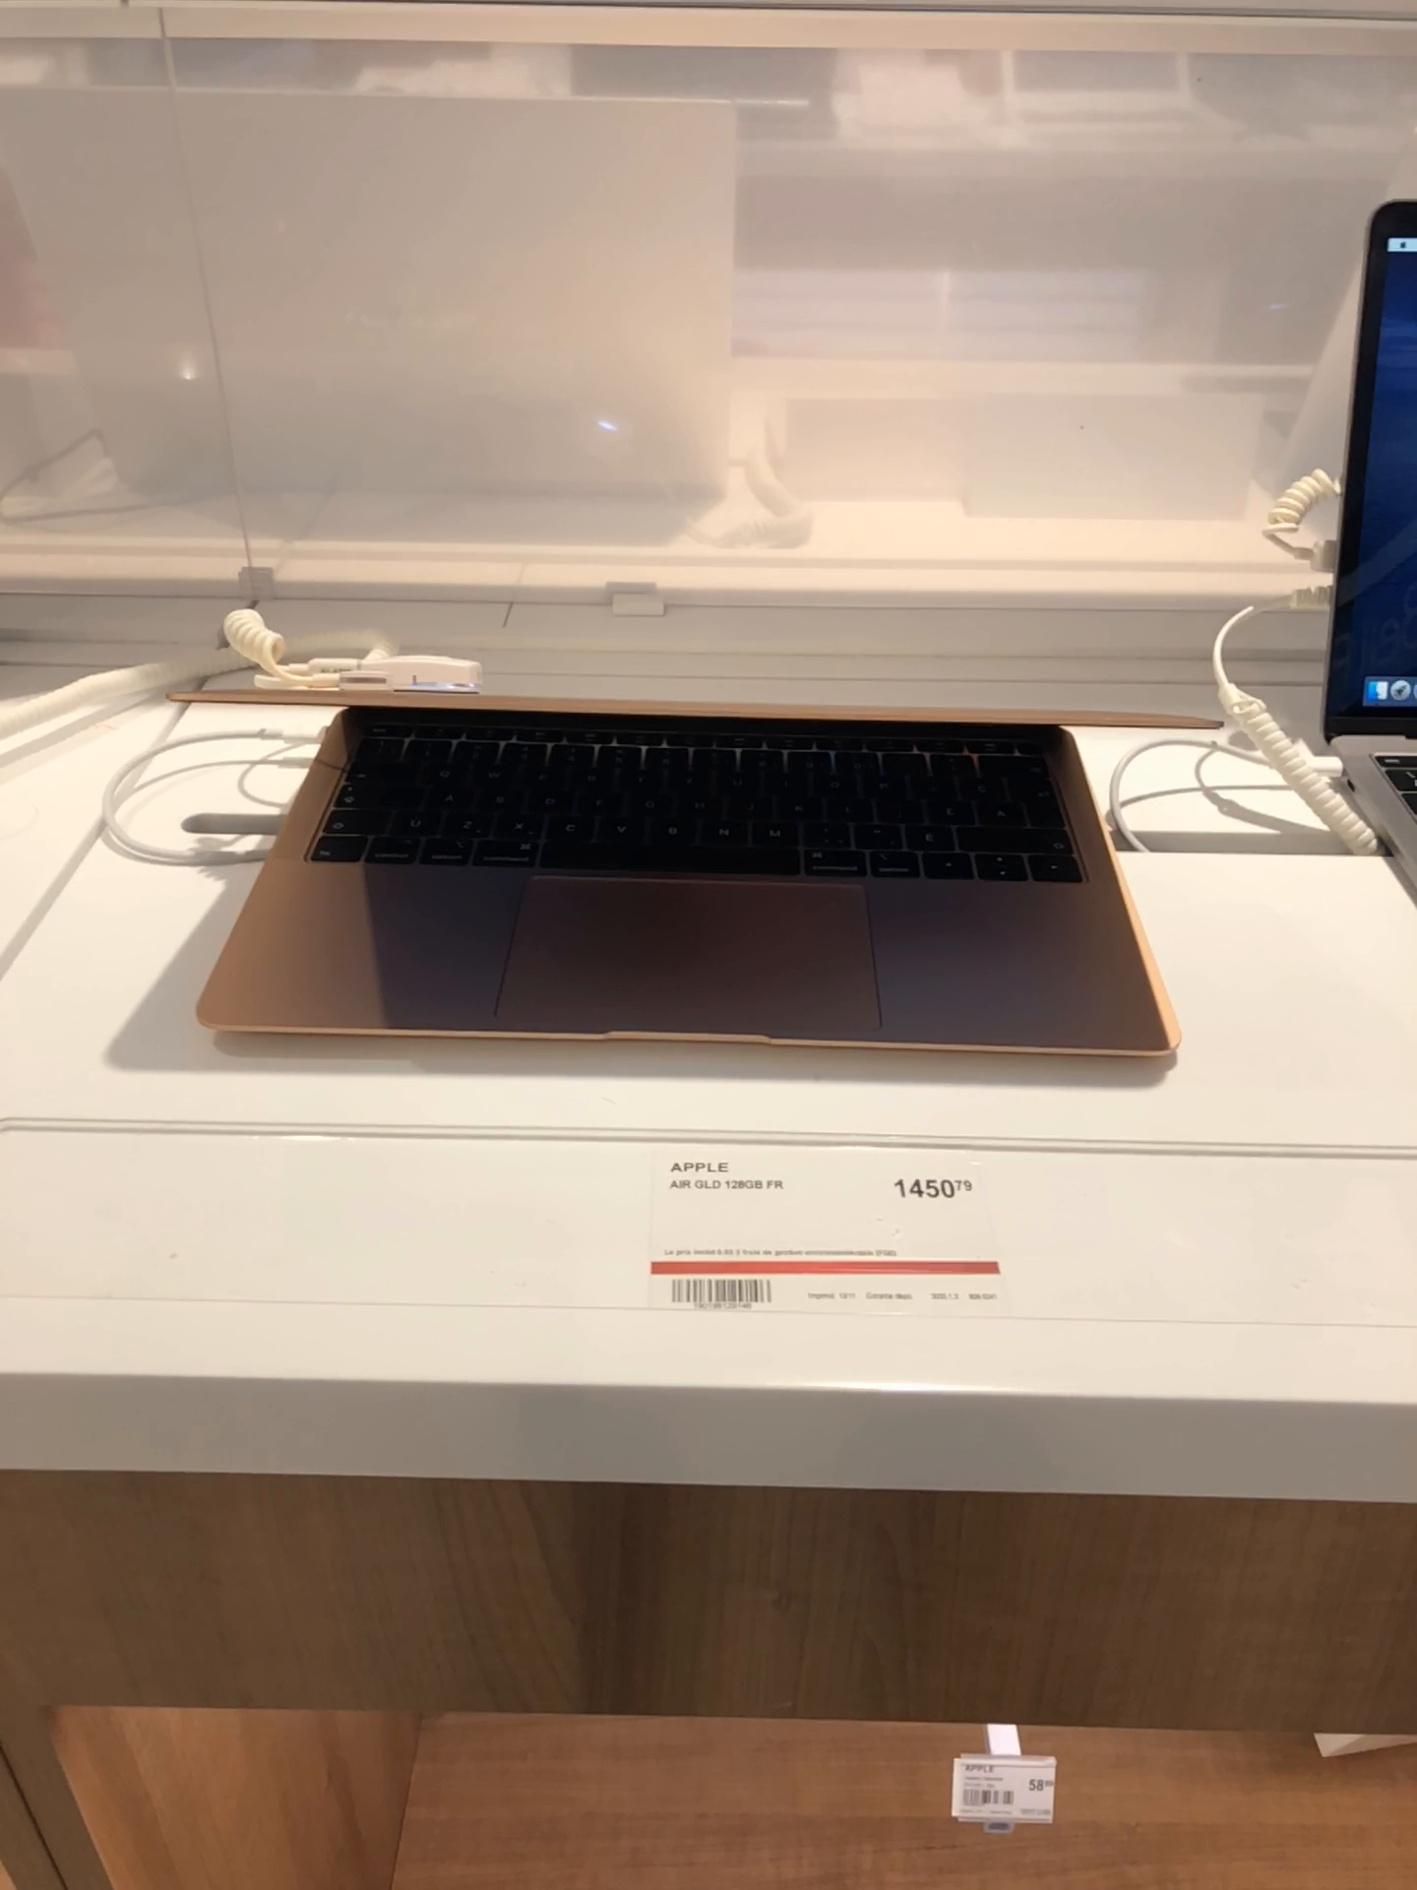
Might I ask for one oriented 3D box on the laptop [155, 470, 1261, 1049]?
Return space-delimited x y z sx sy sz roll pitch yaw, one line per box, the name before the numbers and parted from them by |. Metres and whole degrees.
laptop | -0.007 -0.080 0.542 0.298 0.104 0.226 1 33 4
